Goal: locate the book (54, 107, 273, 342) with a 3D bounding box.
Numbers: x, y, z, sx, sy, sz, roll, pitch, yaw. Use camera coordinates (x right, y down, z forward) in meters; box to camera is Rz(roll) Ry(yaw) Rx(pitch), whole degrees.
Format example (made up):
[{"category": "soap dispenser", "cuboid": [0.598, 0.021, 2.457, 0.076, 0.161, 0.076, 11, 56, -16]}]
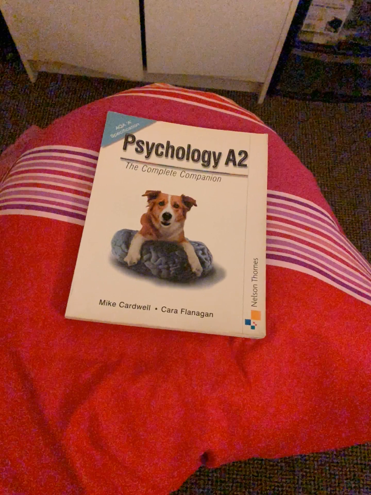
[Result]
[{"category": "book", "cuboid": [-0.012, -0.040, 0.491, 0.240, 0.040, 0.291, 6, 68, -1]}]
